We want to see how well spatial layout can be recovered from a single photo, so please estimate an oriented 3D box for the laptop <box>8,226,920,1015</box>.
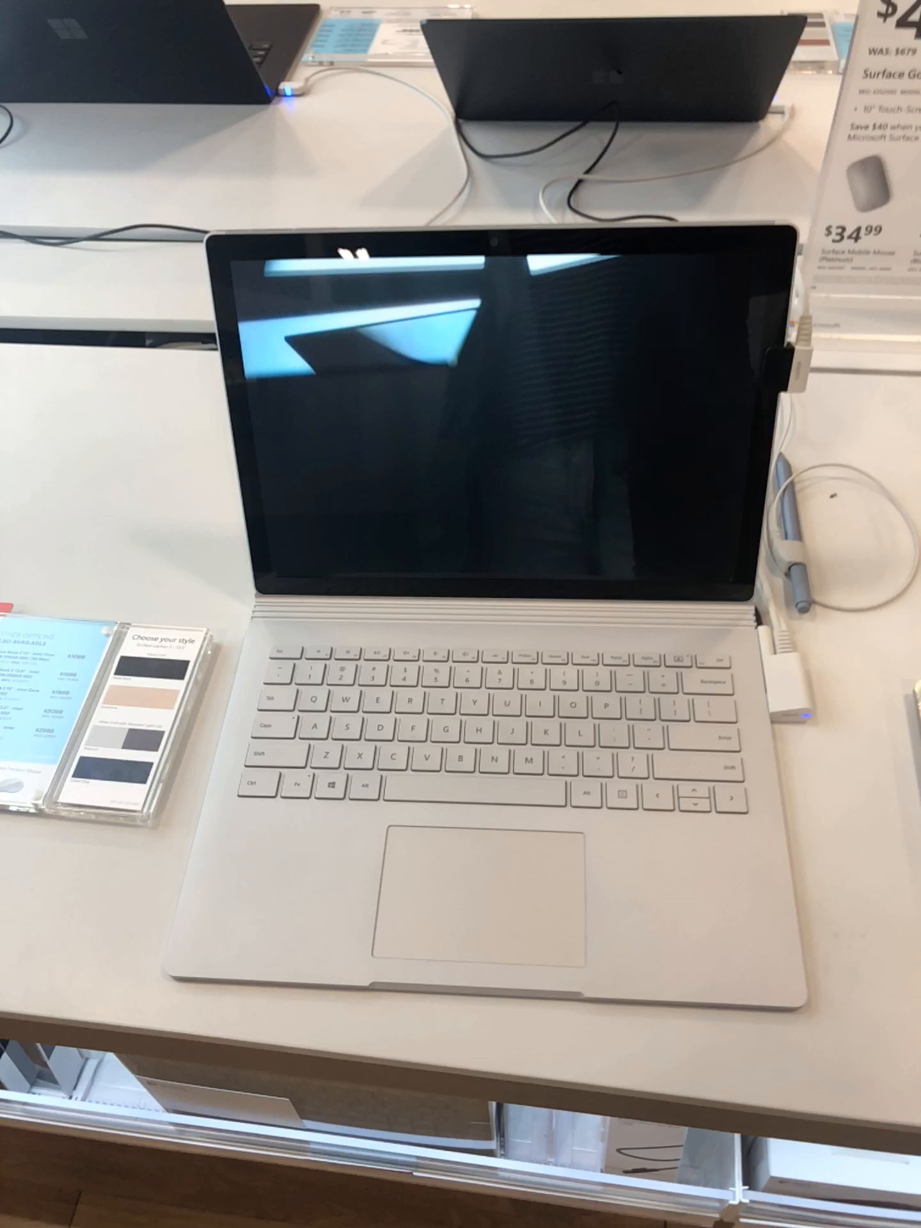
[{"bbox_3d":[0.012,-0.010,0.489,0.291,0.191,0.312,1,52,5],"label":"laptop"}]
